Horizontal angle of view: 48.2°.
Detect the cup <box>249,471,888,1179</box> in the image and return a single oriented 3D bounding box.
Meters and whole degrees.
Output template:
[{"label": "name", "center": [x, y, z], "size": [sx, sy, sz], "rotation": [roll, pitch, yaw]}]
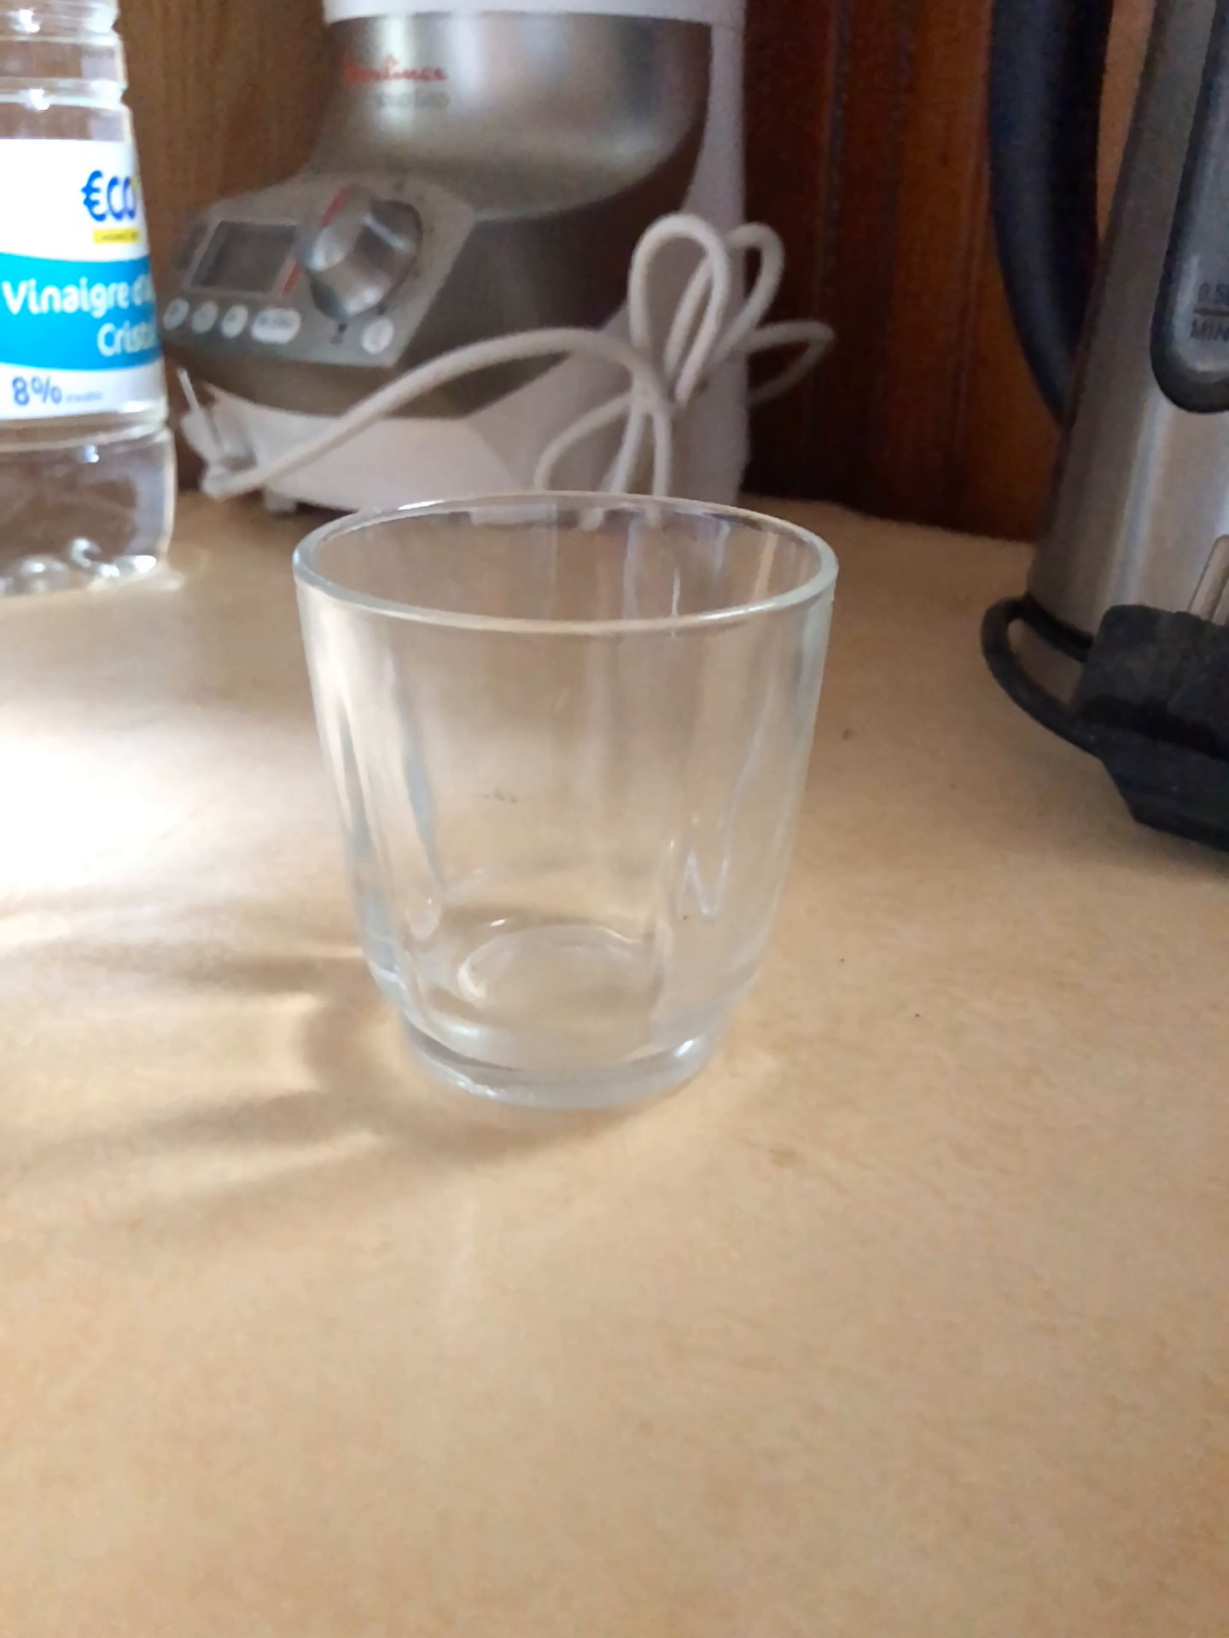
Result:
[{"label": "cup", "center": [-0.006, -0.003, 0.199], "size": [0.070, 0.080, 0.070], "rotation": [0, 24, 0]}]
